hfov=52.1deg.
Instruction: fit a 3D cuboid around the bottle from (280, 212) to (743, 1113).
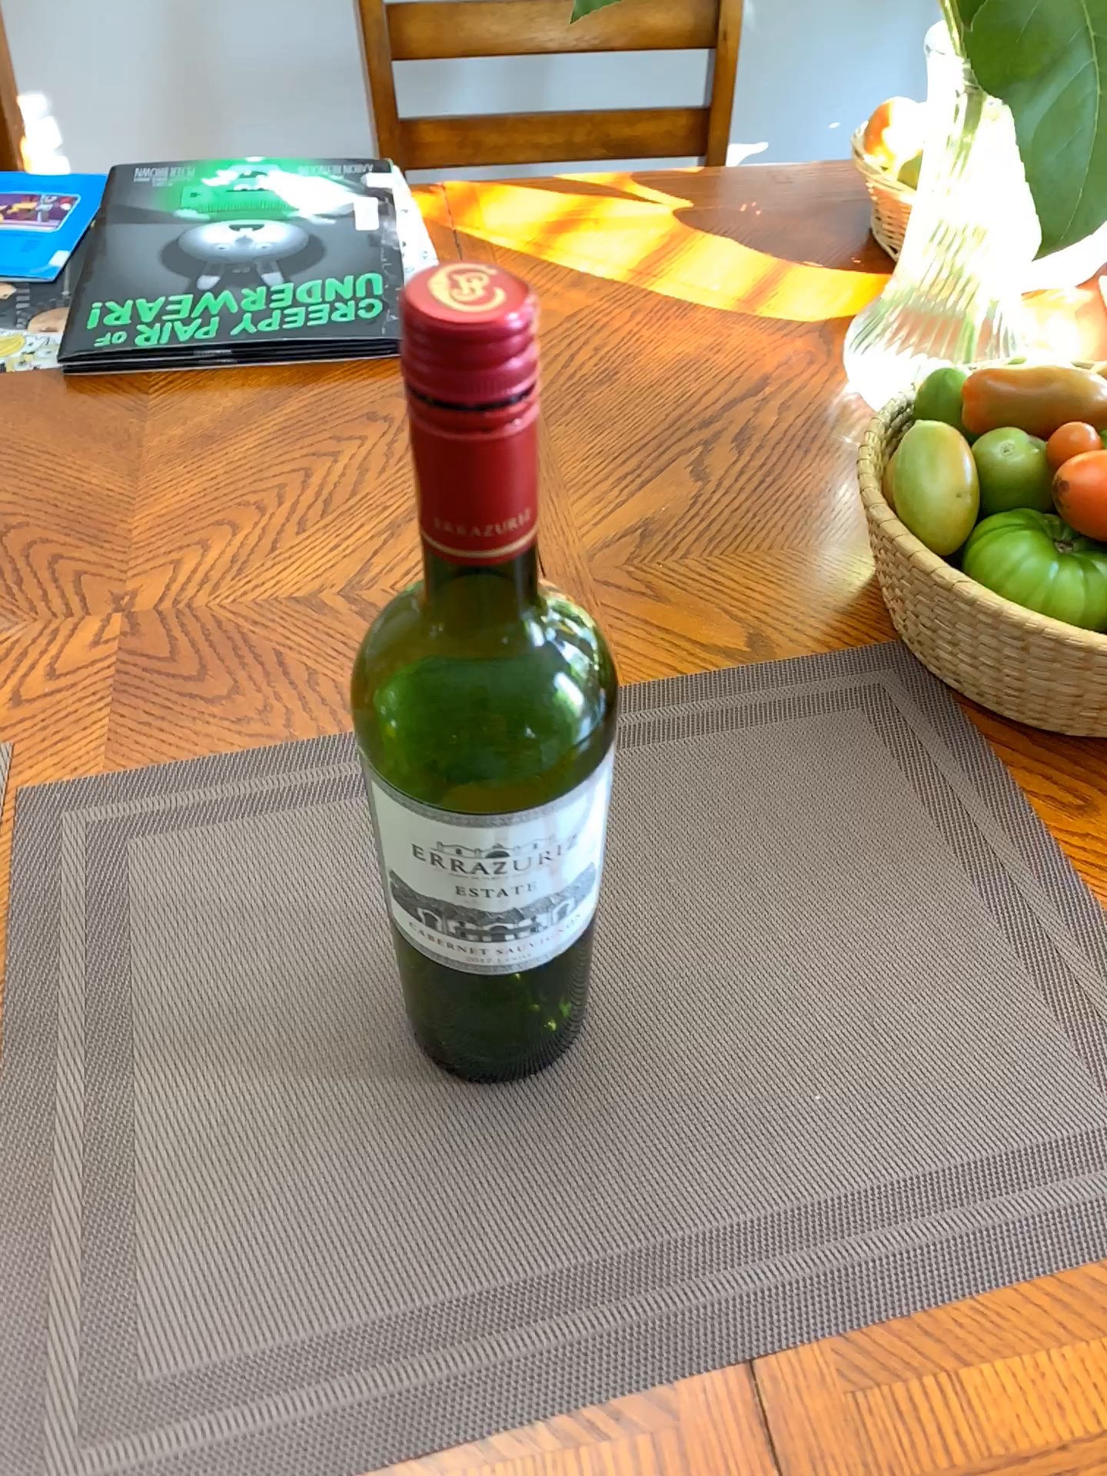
[{"bbox_3d":[-0.017,0.008,0.359,0.090,0.307,0.081,-5,48,-7],"label":"bottle"}]
